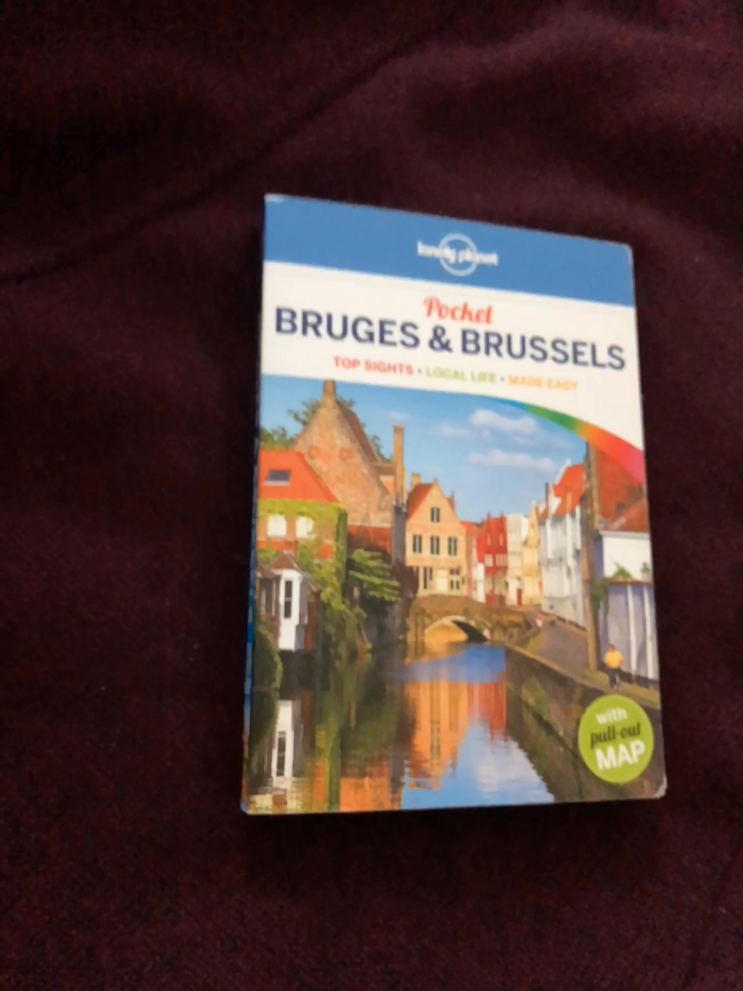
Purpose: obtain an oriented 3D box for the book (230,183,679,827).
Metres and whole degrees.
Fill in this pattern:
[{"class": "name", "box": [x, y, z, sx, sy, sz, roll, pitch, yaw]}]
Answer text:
[{"class": "book", "box": [0.022, 0.000, 0.223, 0.110, 0.016, 0.158, 3, 77, -14]}]
